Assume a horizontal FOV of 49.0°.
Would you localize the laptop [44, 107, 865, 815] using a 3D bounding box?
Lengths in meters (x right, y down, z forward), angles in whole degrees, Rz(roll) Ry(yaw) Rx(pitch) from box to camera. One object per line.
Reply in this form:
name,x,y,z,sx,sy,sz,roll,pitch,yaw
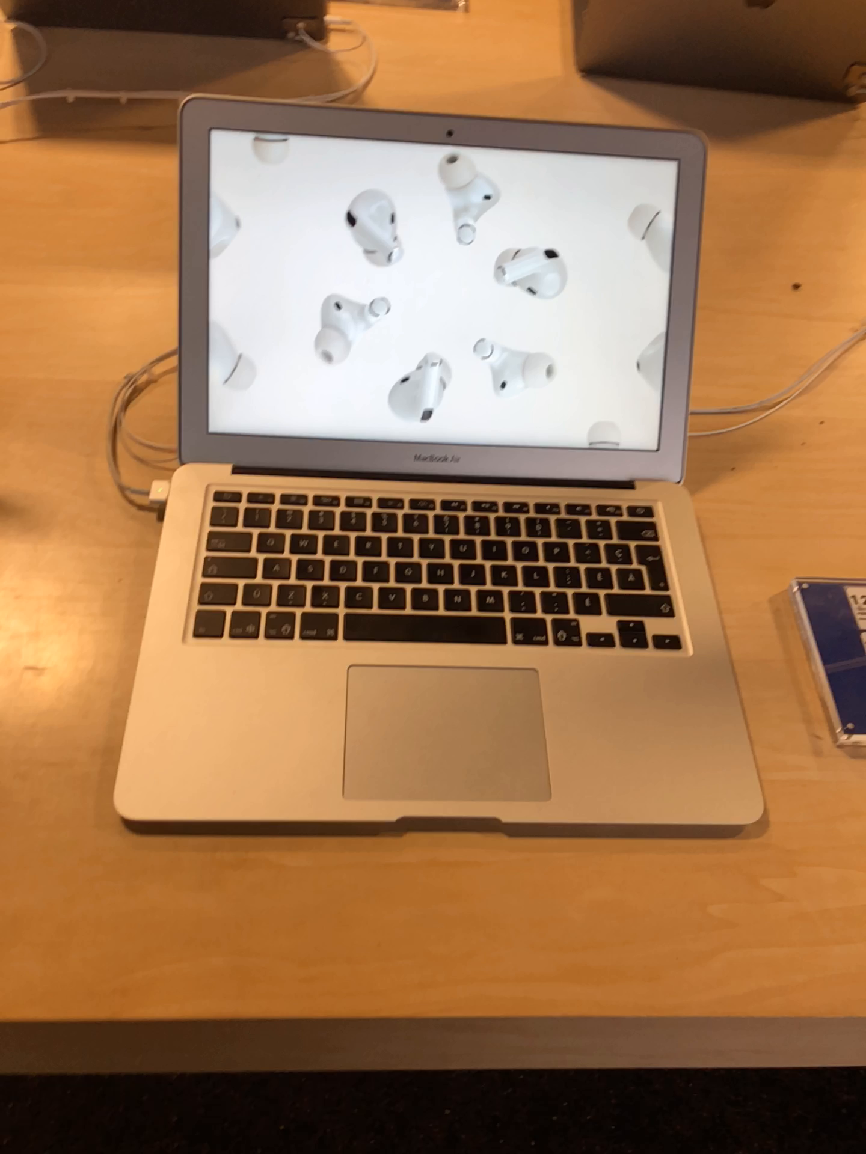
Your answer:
laptop,0.011,-0.078,0.512,0.311,0.151,0.372,2,52,-5
